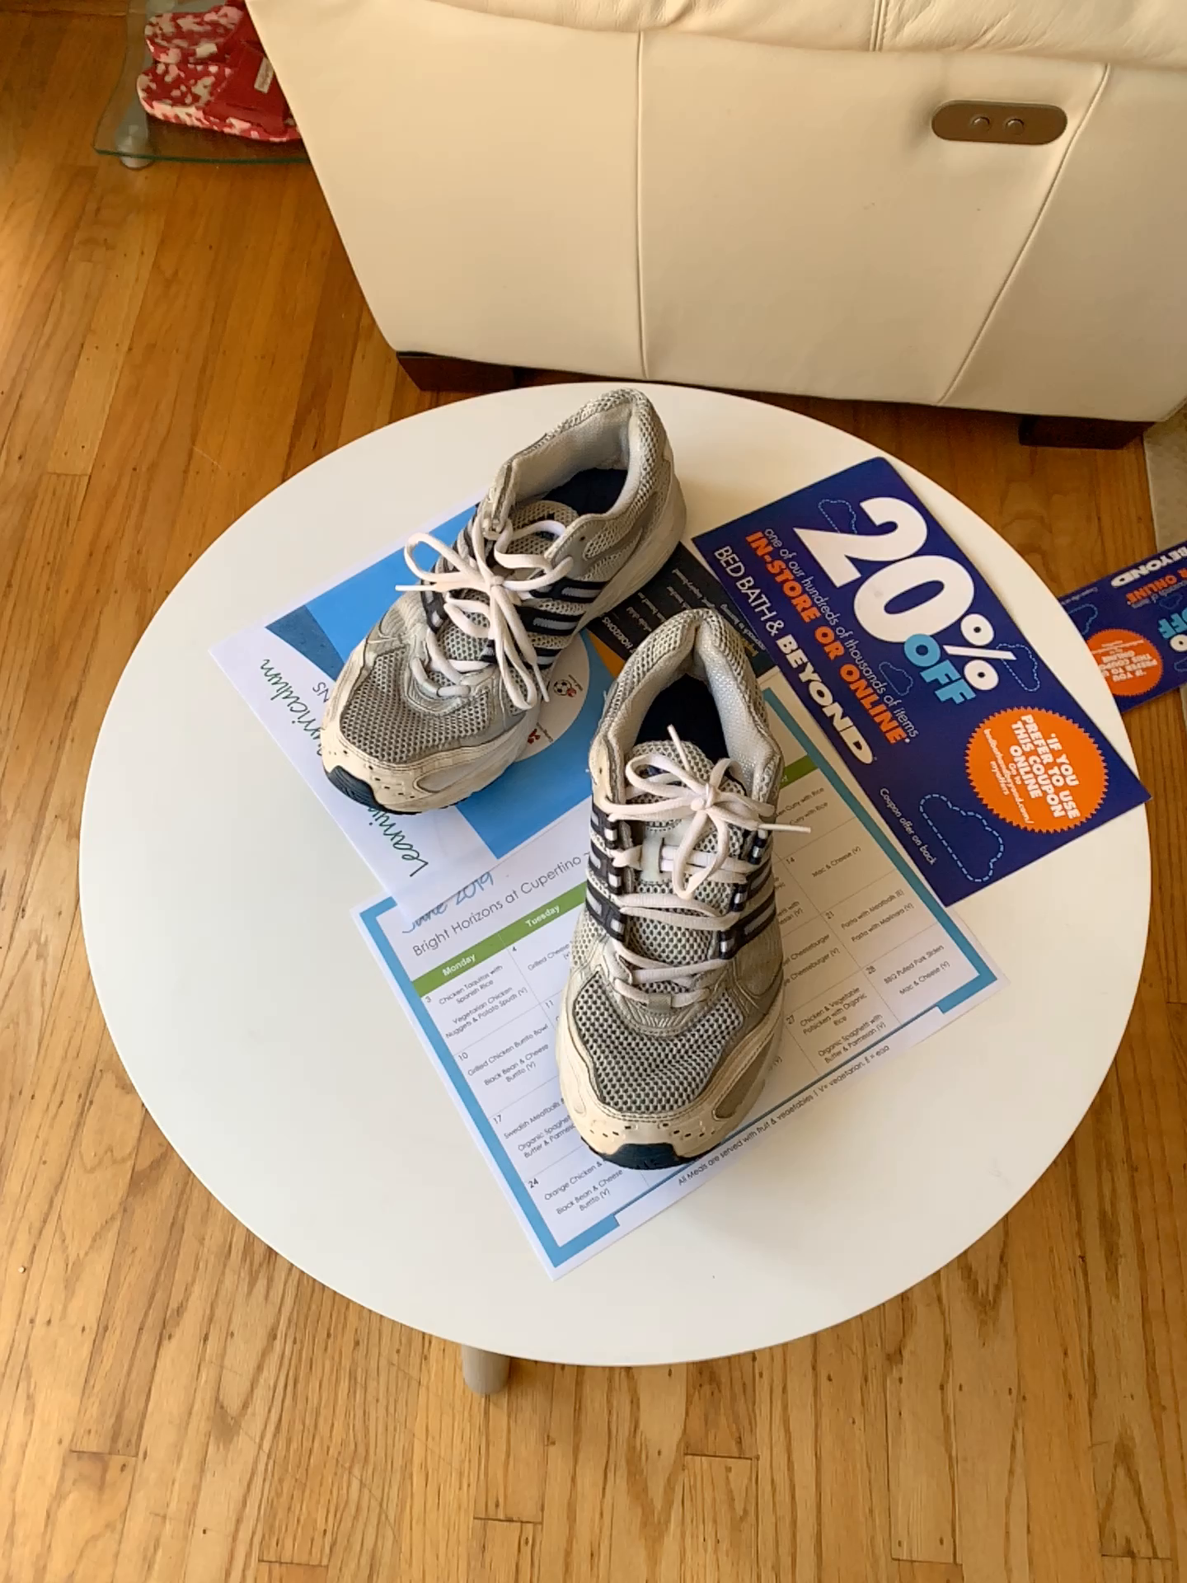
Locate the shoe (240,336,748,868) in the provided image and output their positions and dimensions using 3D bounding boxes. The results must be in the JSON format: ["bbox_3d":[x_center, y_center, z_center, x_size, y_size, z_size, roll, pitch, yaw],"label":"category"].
[{"bbox_3d":[-0.044,-0.109,0.658,0.110,0.080,0.280,34,69,15],"label":"shoe"}]

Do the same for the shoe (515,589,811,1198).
[{"bbox_3d":[0.039,0.044,0.598,0.120,0.080,0.280,5,65,2],"label":"shoe"}]
